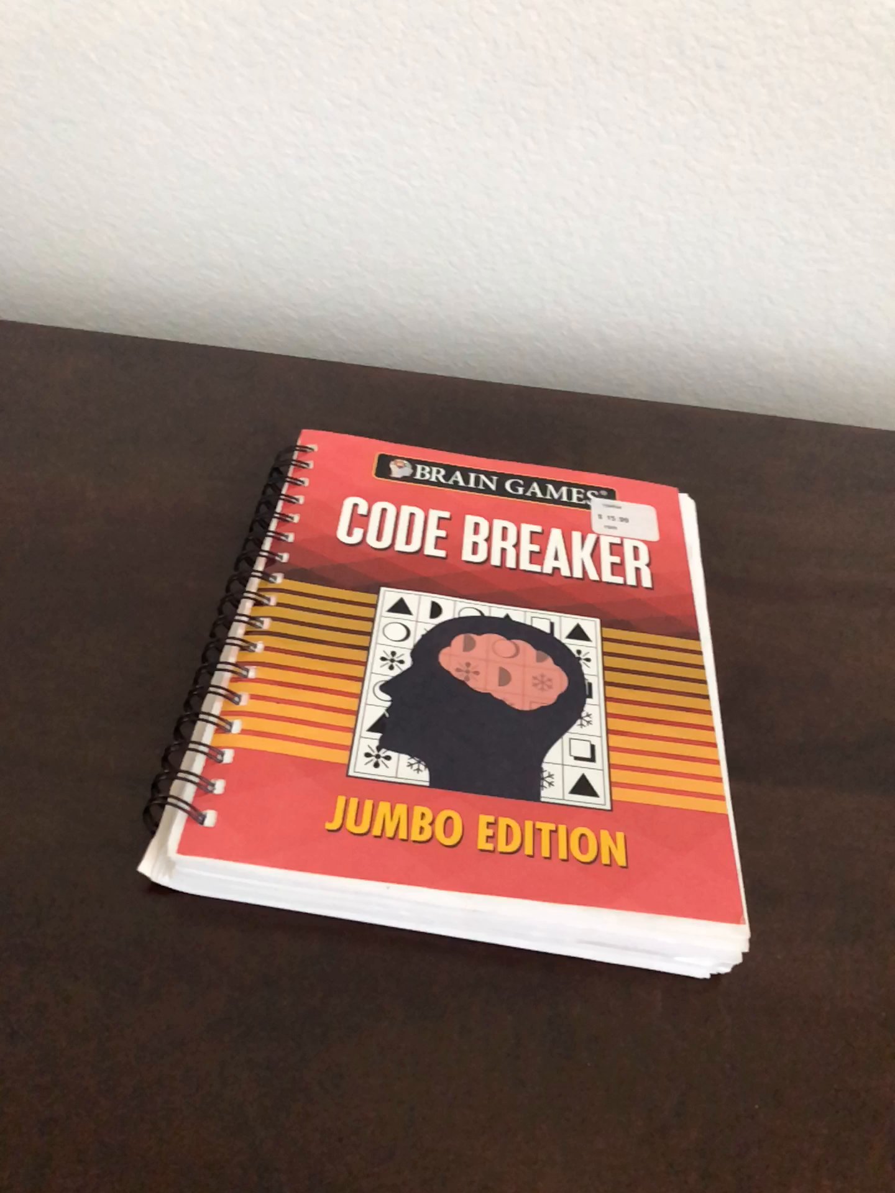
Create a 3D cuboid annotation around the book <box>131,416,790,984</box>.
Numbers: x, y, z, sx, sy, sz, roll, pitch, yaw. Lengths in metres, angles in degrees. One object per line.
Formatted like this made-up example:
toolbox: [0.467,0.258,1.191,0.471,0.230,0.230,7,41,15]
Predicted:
book: [0.014,0.022,0.390,0.202,0.030,0.225,9,46,-1]
